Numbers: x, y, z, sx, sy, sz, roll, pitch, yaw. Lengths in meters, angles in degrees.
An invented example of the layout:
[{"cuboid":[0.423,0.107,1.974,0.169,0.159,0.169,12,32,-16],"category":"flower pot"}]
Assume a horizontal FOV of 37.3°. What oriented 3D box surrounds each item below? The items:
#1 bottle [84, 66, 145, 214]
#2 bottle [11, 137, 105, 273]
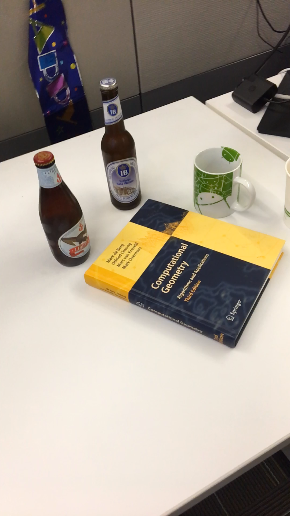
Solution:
[{"cuboid":[-0.045,-0.184,0.704,0.060,0.220,0.070,-13,47,-7],"category":"bottle"},{"cuboid":[-0.118,-0.072,0.626,0.070,0.180,0.070,-3,47,3],"category":"bottle"}]
